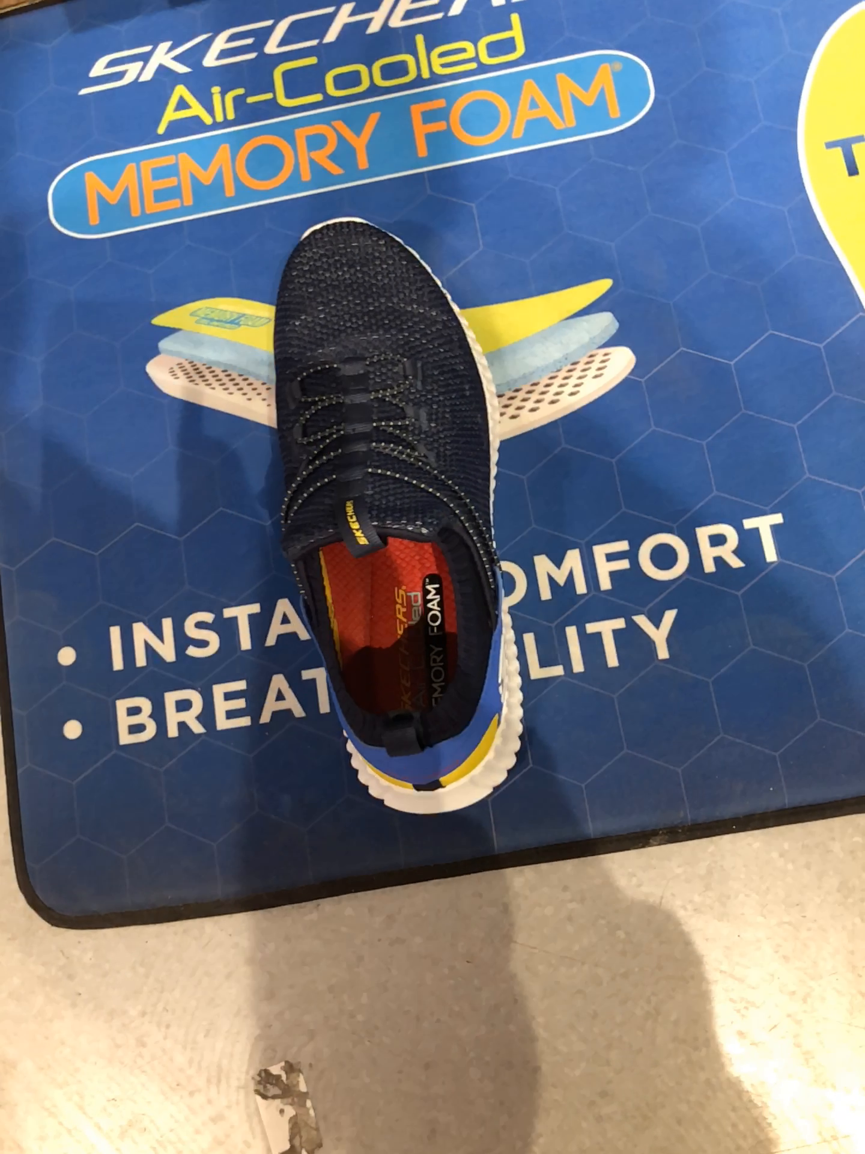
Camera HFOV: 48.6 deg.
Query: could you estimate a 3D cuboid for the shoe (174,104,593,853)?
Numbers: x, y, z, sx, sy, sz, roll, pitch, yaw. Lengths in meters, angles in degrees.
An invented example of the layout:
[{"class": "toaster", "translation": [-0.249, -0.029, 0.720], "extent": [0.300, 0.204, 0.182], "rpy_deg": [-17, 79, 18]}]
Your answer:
[{"class": "shoe", "translation": [-0.020, -0.038, 0.418], "extent": [0.111, 0.103, 0.280], "rpy_deg": [-13, 78, 4]}]
